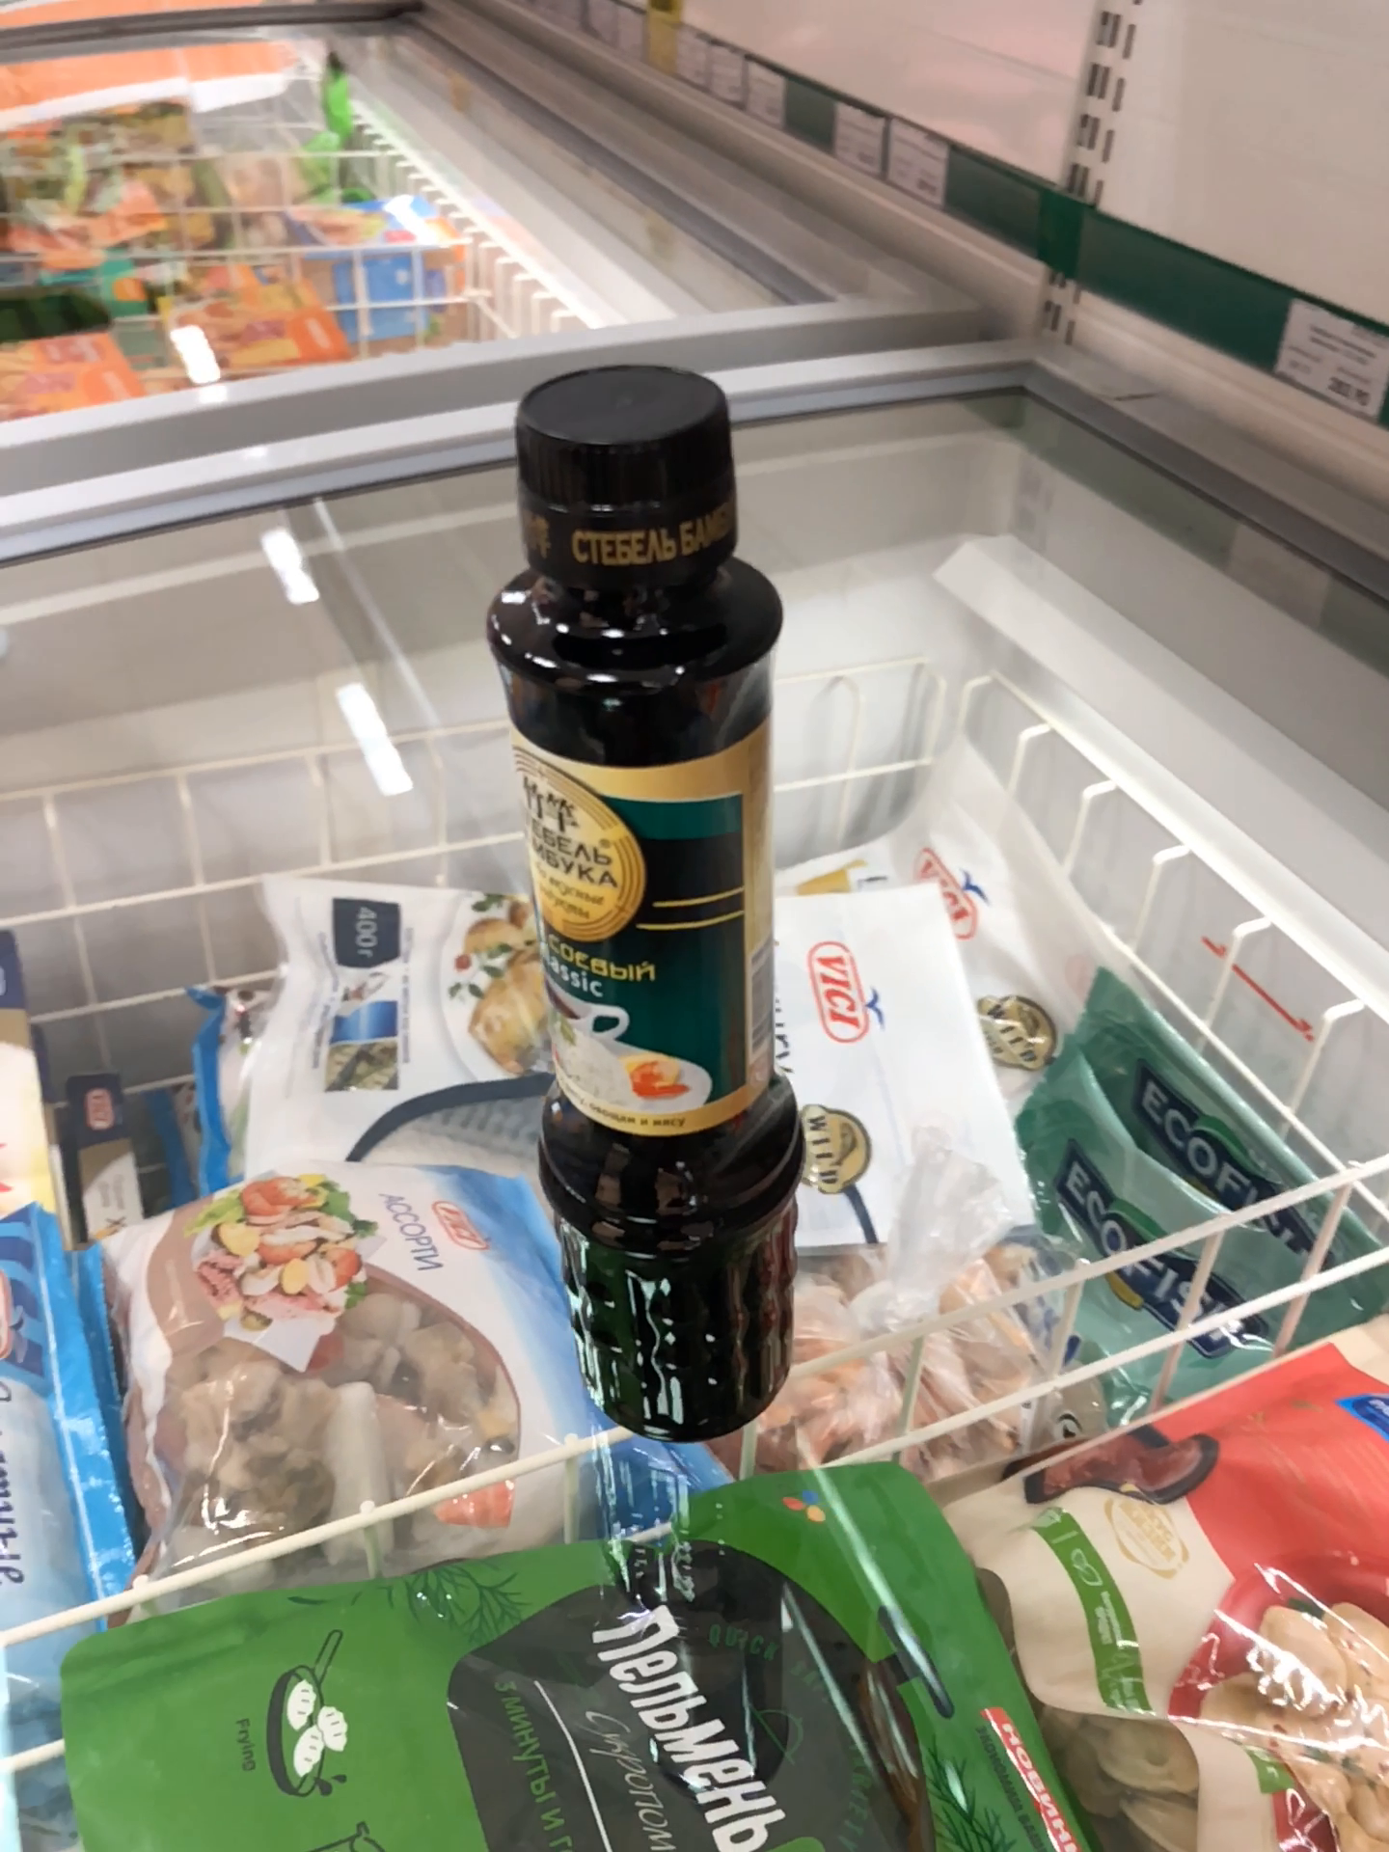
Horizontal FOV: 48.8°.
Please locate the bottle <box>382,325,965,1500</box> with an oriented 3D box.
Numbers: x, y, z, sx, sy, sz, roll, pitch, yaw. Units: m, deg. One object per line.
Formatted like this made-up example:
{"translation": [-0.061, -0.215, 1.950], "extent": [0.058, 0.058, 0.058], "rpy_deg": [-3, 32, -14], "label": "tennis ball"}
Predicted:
{"translation": [-0.005, 0.010, 0.268], "extent": [0.053, 0.199, 0.058], "rpy_deg": [1, 39, 0], "label": "bottle"}
